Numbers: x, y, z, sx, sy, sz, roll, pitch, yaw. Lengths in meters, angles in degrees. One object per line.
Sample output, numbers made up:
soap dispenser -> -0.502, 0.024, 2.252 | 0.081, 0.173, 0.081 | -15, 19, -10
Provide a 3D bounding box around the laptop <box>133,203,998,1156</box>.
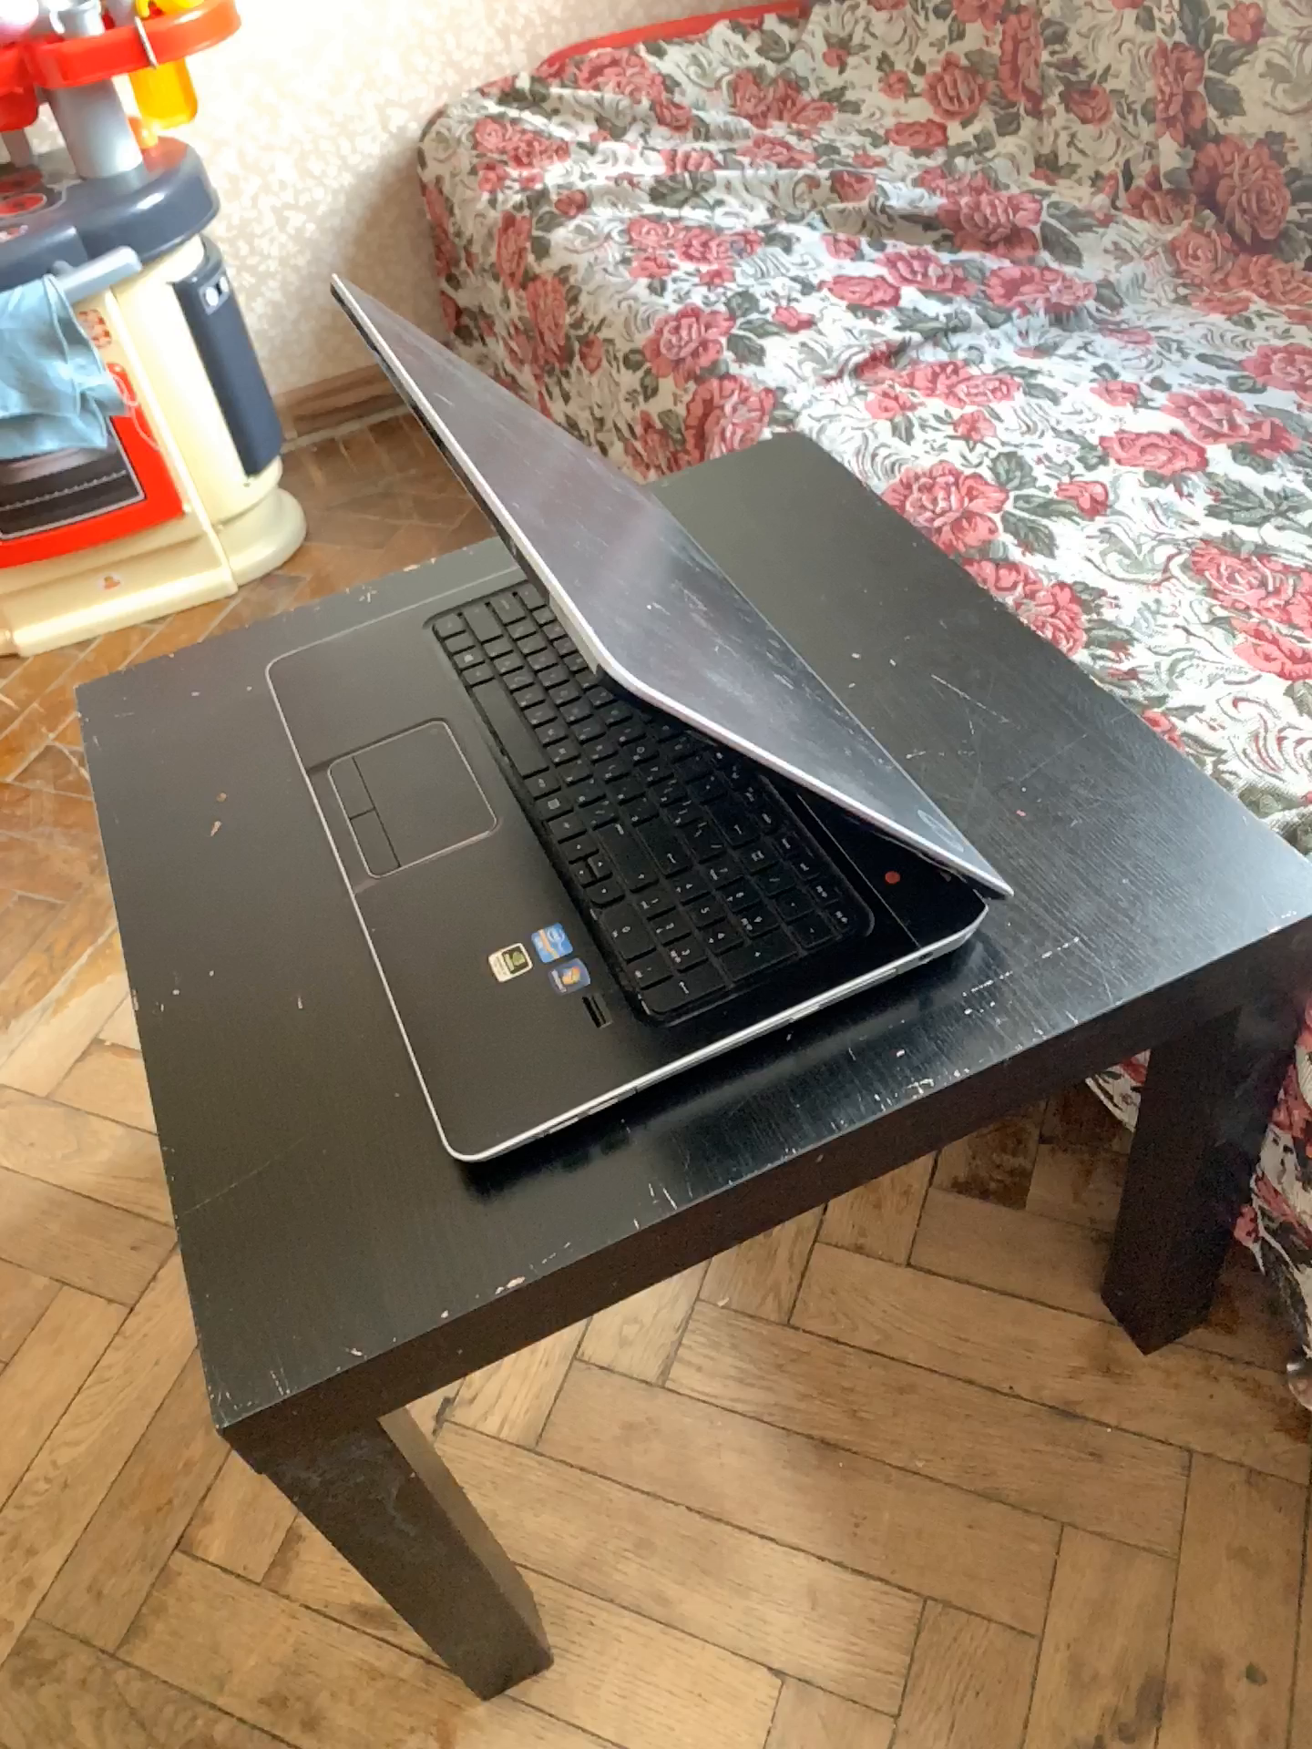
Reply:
laptop -> -0.064, -0.126, 0.657 | 0.256, 0.201, 0.407 | -23, 47, -10
